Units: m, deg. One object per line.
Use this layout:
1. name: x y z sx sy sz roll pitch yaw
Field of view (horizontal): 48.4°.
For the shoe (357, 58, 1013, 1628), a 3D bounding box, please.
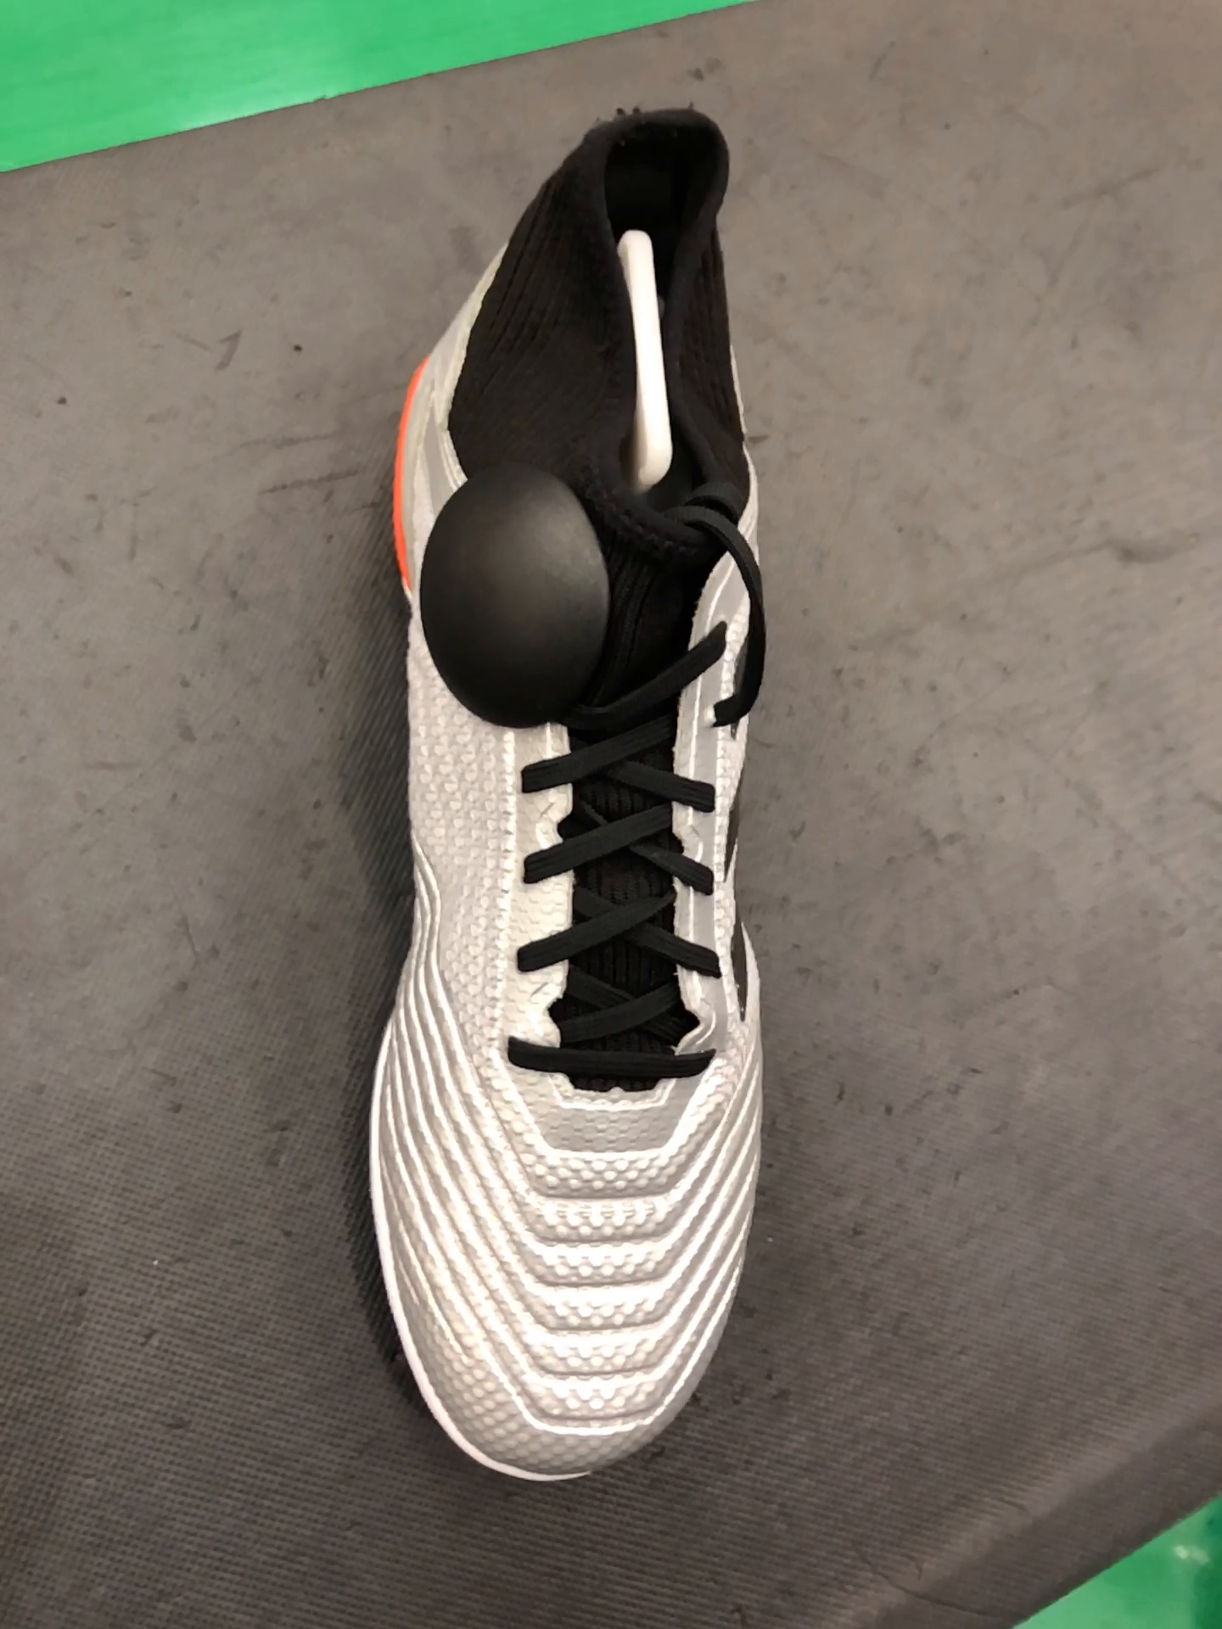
1. shoe: -0.002 0.009 0.284 0.090 0.140 0.250 1 79 -13
